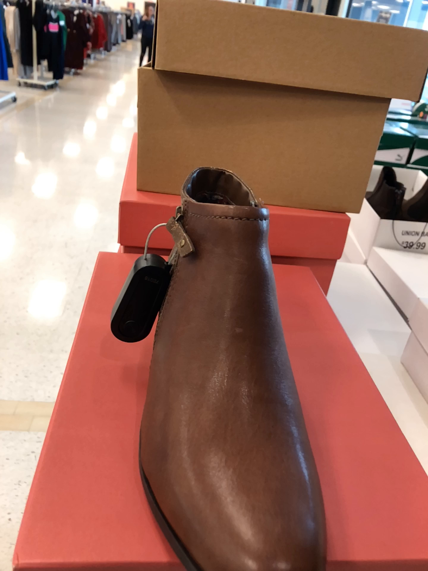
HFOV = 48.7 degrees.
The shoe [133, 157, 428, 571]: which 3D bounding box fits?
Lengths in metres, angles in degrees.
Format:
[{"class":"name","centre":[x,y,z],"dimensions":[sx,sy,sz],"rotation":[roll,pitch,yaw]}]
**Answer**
[{"class":"shoe","centre":[0.008,0.026,0.275],"dimensions":[0.101,0.119,0.282],"rotation":[3,29,-12]}]
